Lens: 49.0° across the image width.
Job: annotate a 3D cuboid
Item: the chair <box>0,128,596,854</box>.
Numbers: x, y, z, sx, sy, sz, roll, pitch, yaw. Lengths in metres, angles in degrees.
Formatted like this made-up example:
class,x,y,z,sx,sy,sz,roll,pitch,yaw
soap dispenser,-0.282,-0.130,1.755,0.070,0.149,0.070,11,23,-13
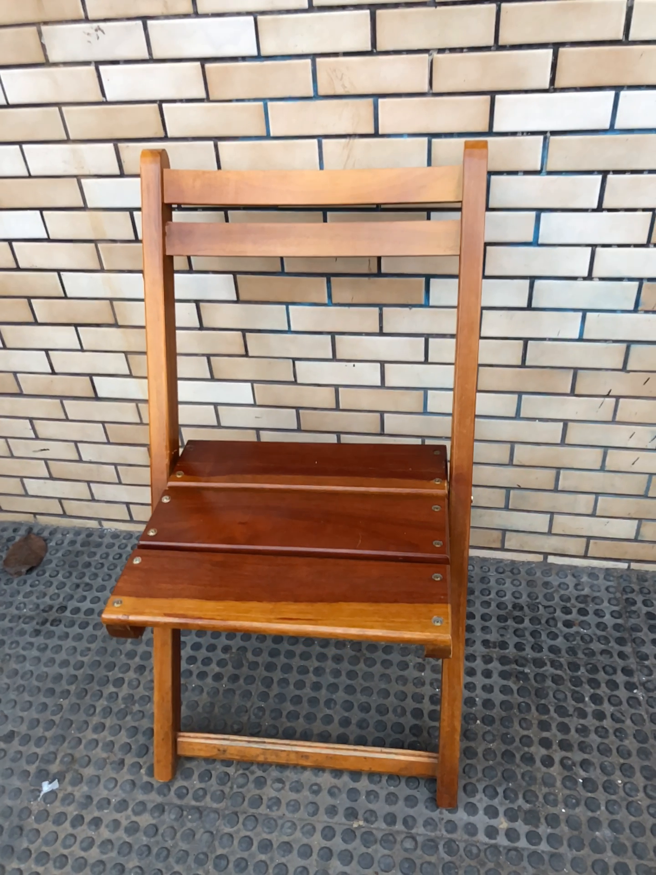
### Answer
class,x,y,z,sx,sy,sz,roll,pitch,yaw
chair,-0.017,0.071,0.924,0.470,0.765,0.493,2,36,6
